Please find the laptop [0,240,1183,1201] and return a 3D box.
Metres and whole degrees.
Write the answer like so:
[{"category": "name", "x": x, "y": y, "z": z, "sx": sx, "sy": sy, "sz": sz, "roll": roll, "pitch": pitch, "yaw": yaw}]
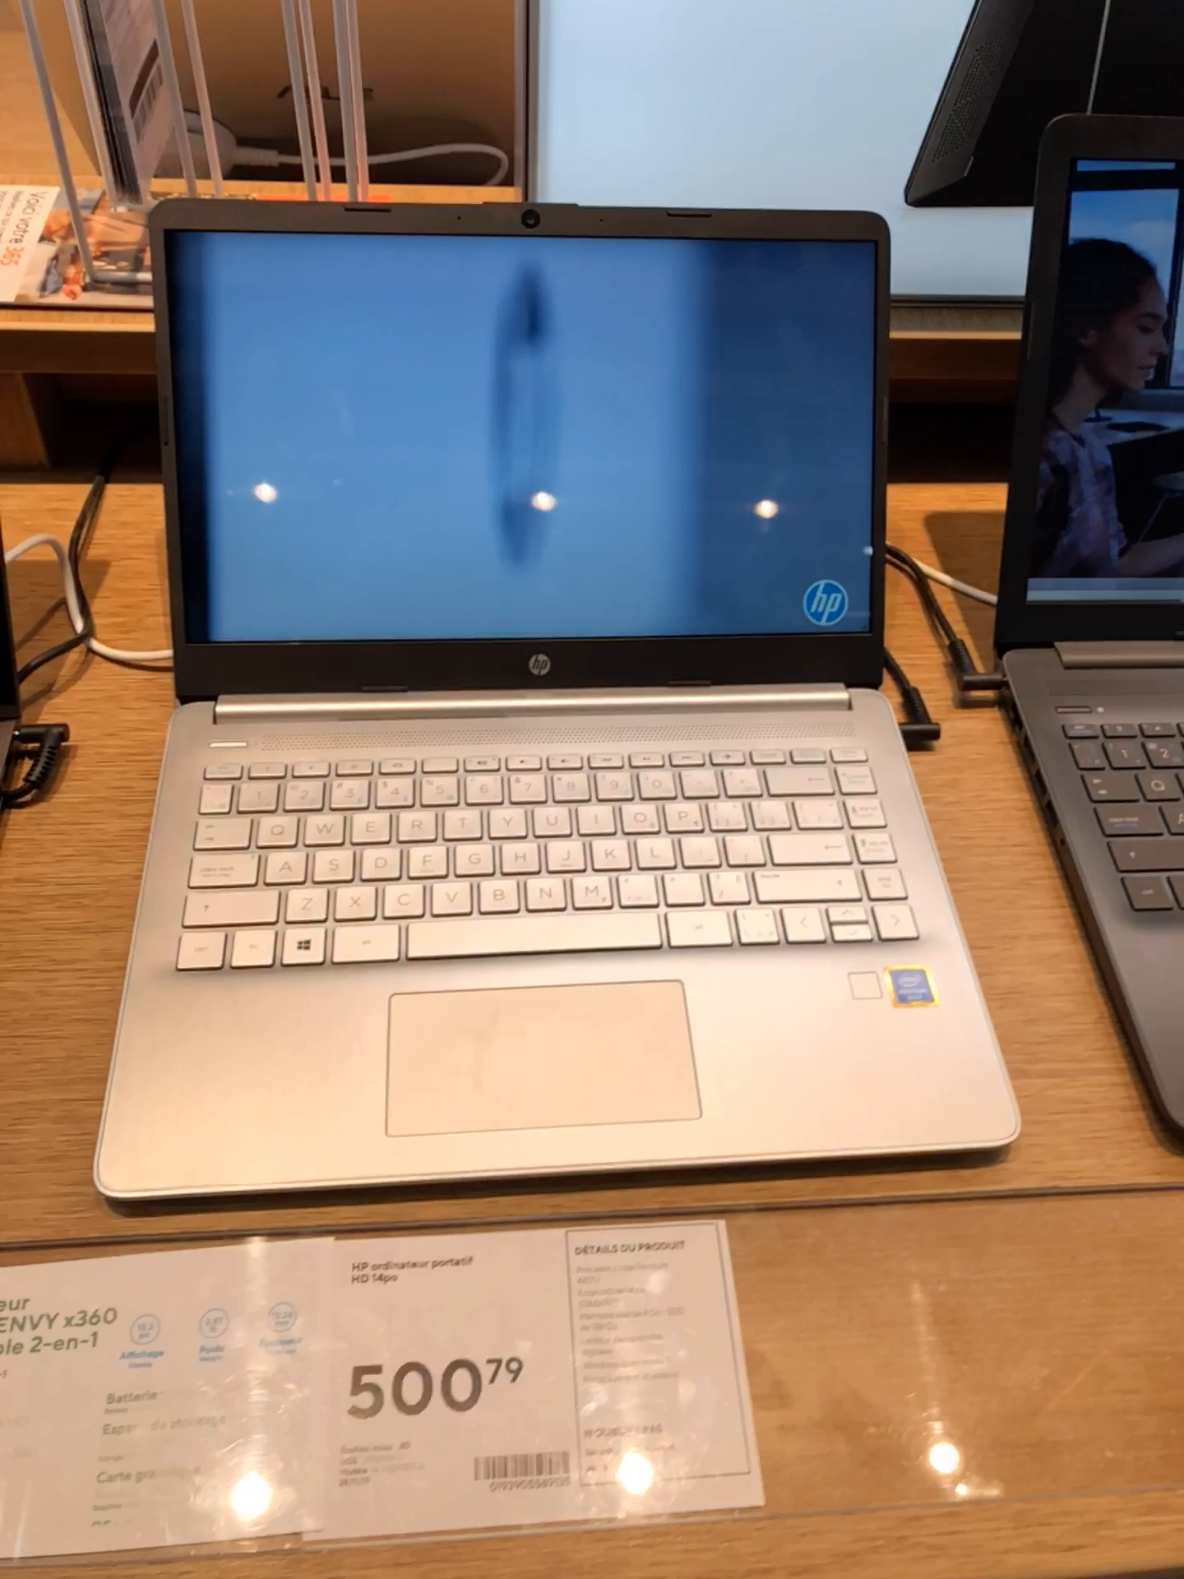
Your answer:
[{"category": "laptop", "x": -0.014, "y": -0.048, "z": 0.509, "sx": 0.307, "sy": 0.167, "sz": 0.347, "roll": -2, "pitch": 49, "yaw": -3}]
